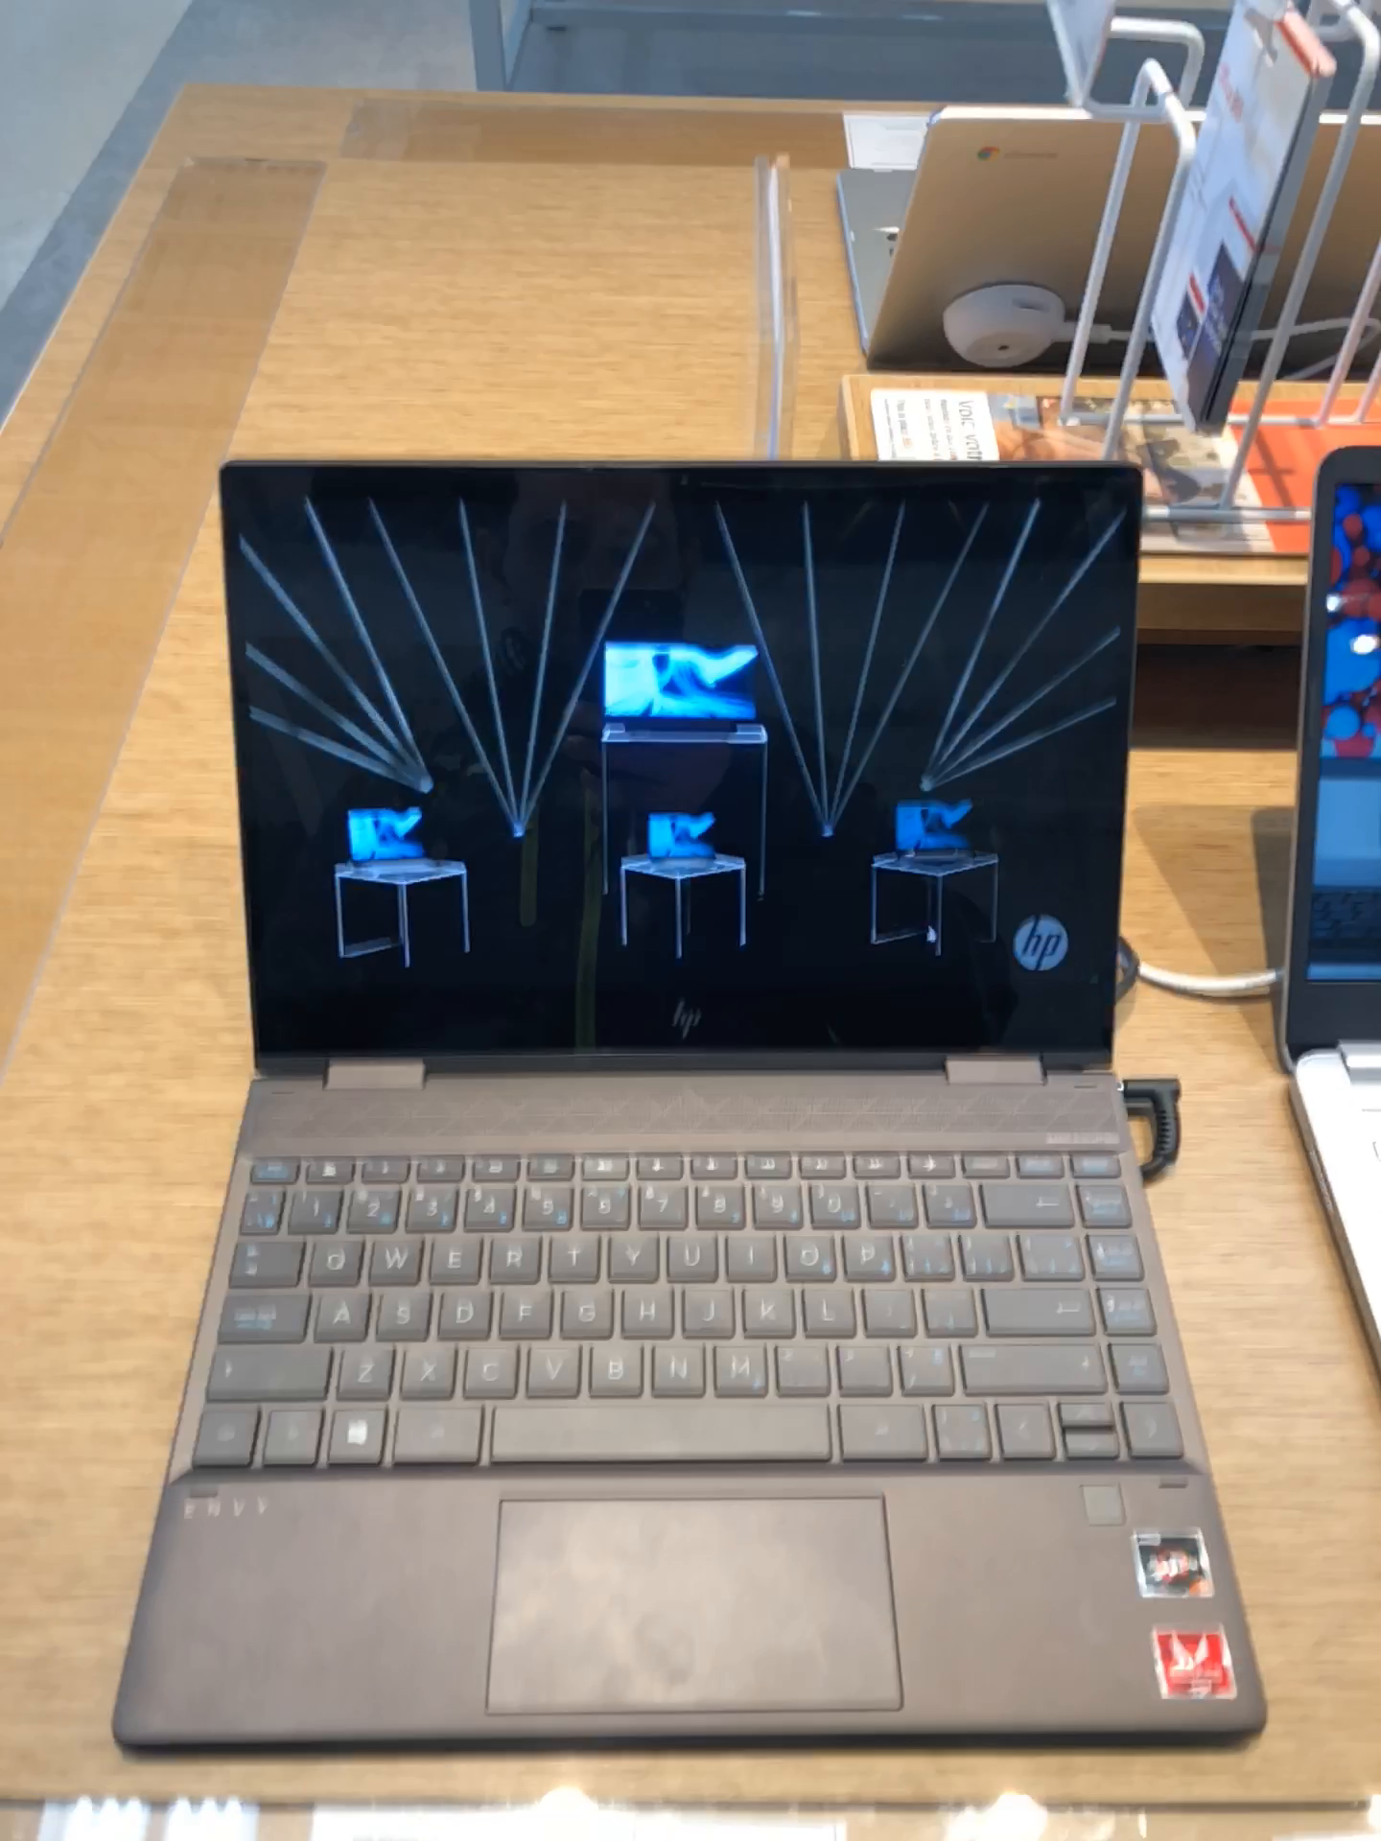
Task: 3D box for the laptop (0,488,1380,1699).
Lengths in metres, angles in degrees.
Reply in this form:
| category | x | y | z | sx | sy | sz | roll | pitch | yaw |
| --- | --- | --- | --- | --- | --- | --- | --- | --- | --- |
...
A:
| category | x | y | z | sx | sy | sz | roll | pitch | yaw |
| --- | --- | --- | --- | --- | --- | --- | --- | --- | --- |
| laptop | 0.008 | 0.033 | 0.452 | 0.293 | 0.163 | 0.318 | 0 | 49 | -1 |
